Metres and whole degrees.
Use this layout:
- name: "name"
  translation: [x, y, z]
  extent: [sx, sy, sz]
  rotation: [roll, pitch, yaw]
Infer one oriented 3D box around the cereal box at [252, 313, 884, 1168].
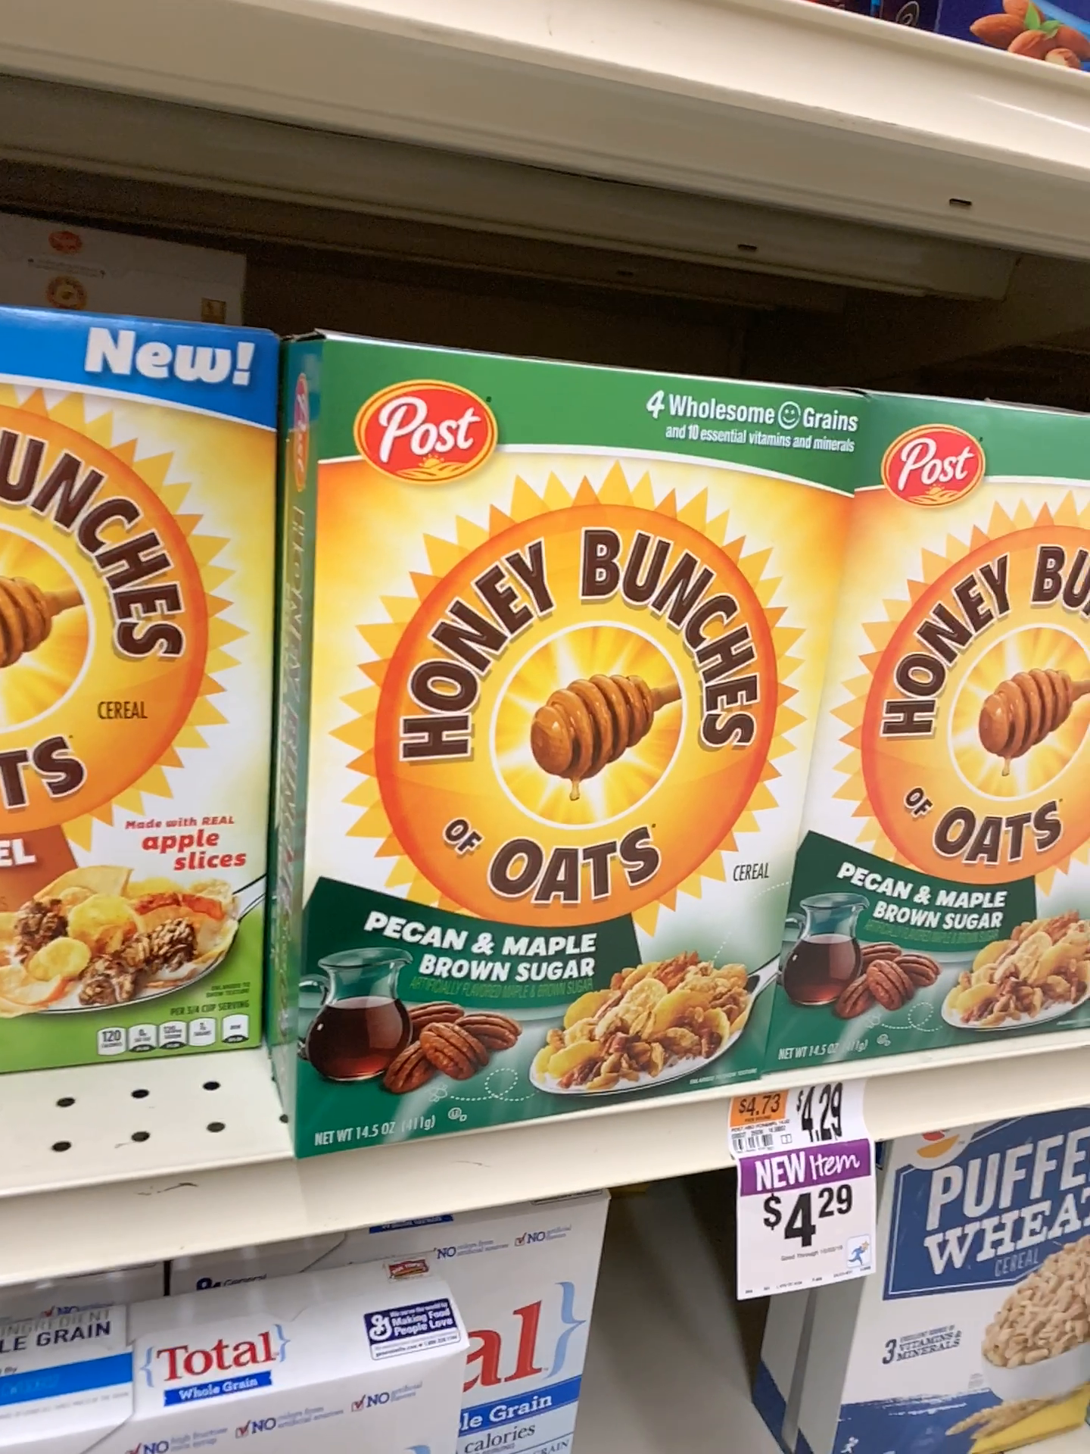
- name: "cereal box"
  translation: [0.002, 0.007, 0.415]
  extent: [0.200, 0.279, 0.060]
  rotation: [-2, 17, -24]
